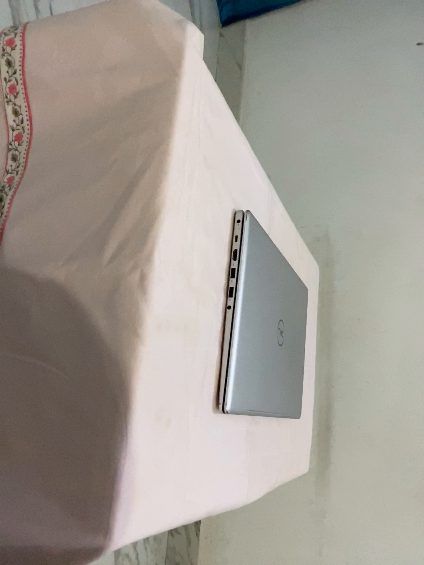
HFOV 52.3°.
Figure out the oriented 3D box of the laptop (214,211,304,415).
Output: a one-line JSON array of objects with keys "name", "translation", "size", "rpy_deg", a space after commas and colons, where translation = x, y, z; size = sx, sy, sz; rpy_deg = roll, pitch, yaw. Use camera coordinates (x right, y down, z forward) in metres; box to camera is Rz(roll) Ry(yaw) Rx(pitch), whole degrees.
[{"name": "laptop", "translation": [0.091, 0.076, 0.651], "size": [0.361, 0.004, 0.236], "rpy_deg": [36, 59, -61]}]
